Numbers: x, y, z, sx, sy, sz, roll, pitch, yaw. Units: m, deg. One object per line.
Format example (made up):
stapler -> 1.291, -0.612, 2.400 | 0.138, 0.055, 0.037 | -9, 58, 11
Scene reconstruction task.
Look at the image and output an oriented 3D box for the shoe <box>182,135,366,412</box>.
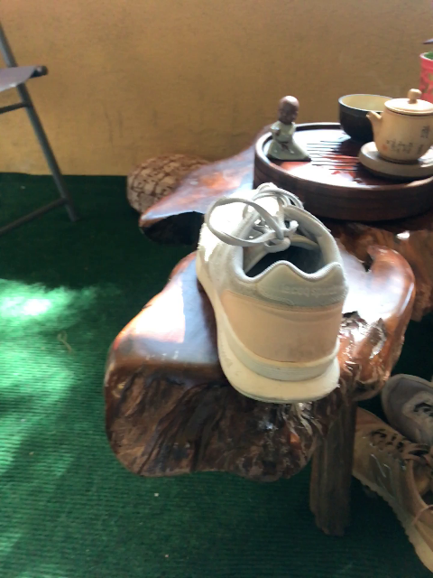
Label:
shoe -> 0.026, -0.036, 0.393 | 0.102, 0.091, 0.265 | -1, 38, -3
